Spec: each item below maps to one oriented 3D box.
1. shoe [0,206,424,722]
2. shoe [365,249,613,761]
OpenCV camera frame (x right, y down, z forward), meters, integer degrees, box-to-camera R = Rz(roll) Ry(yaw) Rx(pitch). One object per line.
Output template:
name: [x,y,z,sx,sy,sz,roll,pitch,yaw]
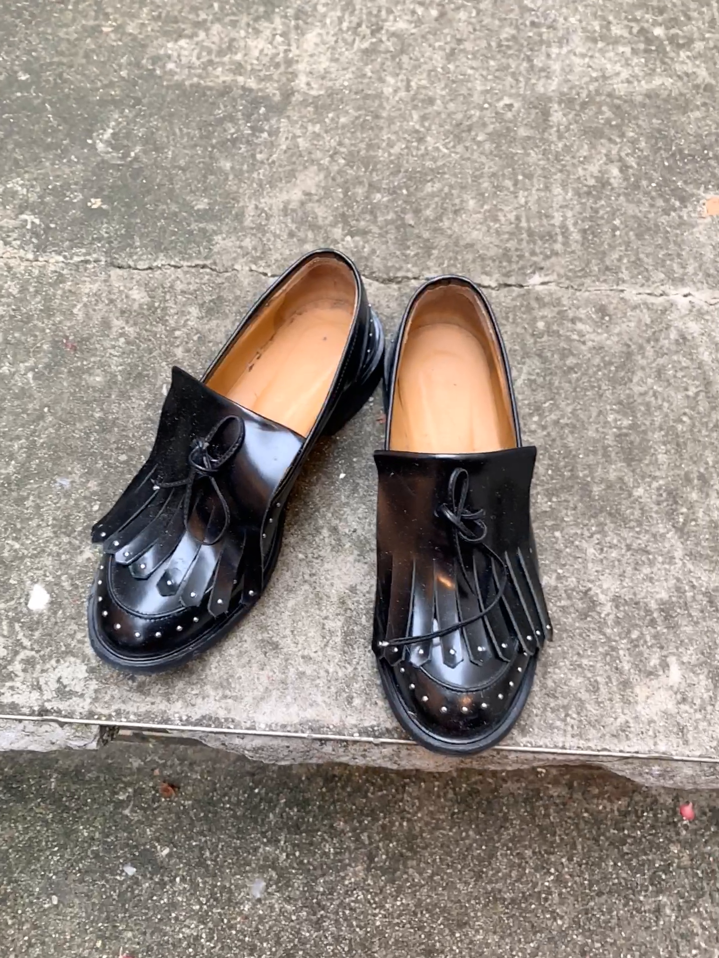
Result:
shoe: [-0.064,-0.016,0.385,0.093,0.081,0.247,25,66,13]
shoe: [0.052,0.007,0.377,0.093,0.081,0.249,1,64,-1]
